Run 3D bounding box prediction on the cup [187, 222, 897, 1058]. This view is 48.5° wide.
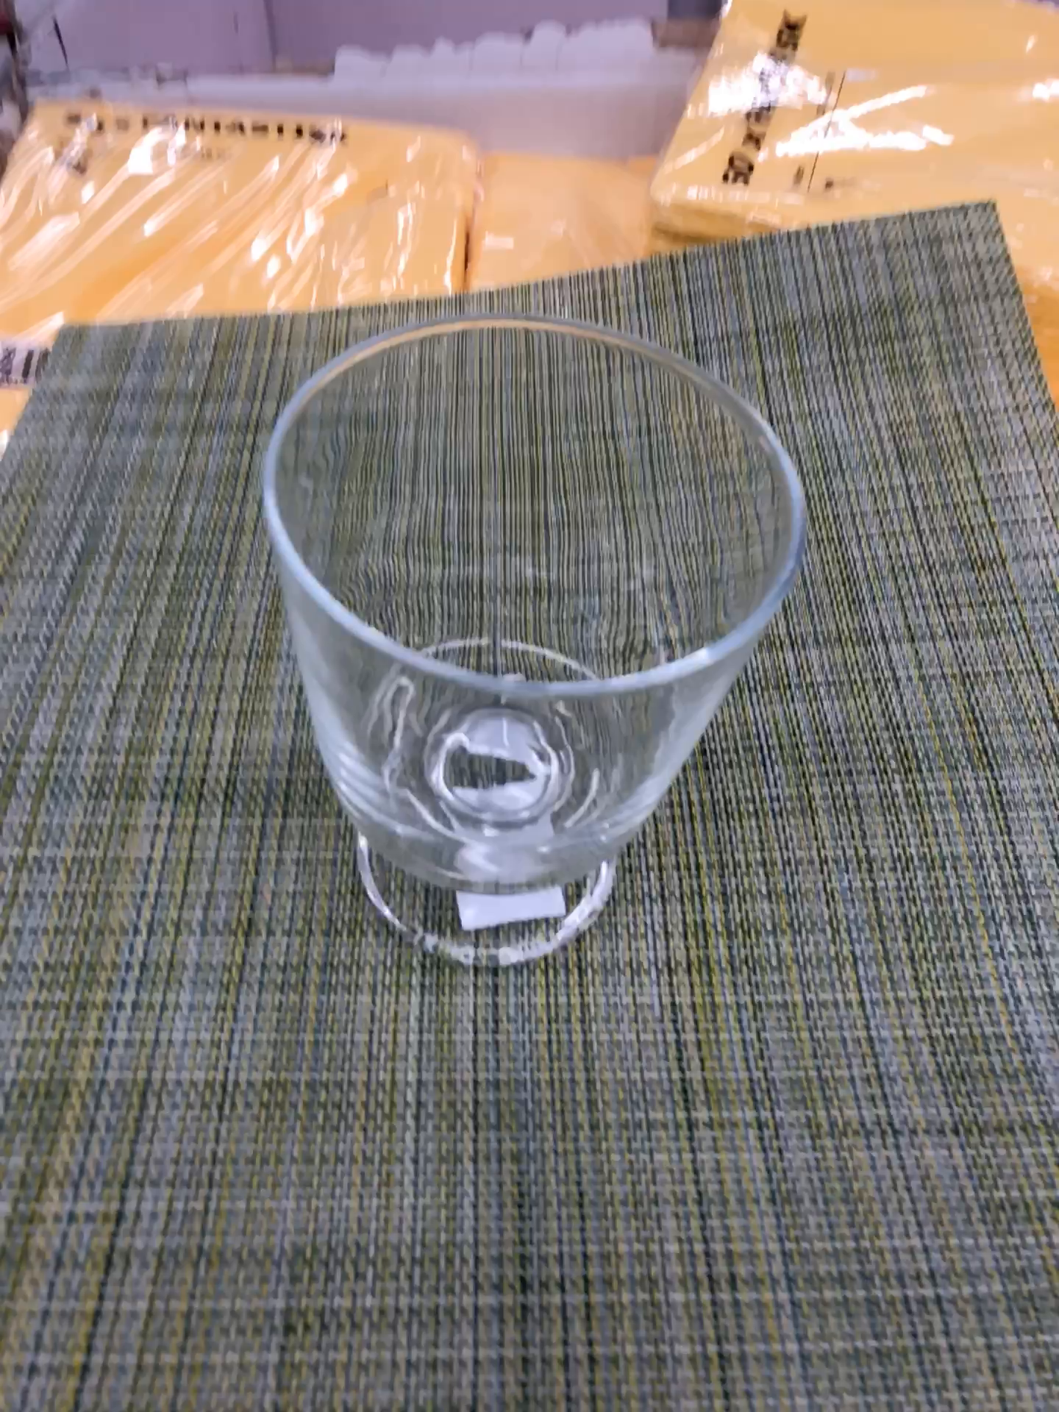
[{"bbox_3d":[0.003,-0.008,0.225,0.090,0.110,0.090,4,54,-6],"label":"cup"}]
